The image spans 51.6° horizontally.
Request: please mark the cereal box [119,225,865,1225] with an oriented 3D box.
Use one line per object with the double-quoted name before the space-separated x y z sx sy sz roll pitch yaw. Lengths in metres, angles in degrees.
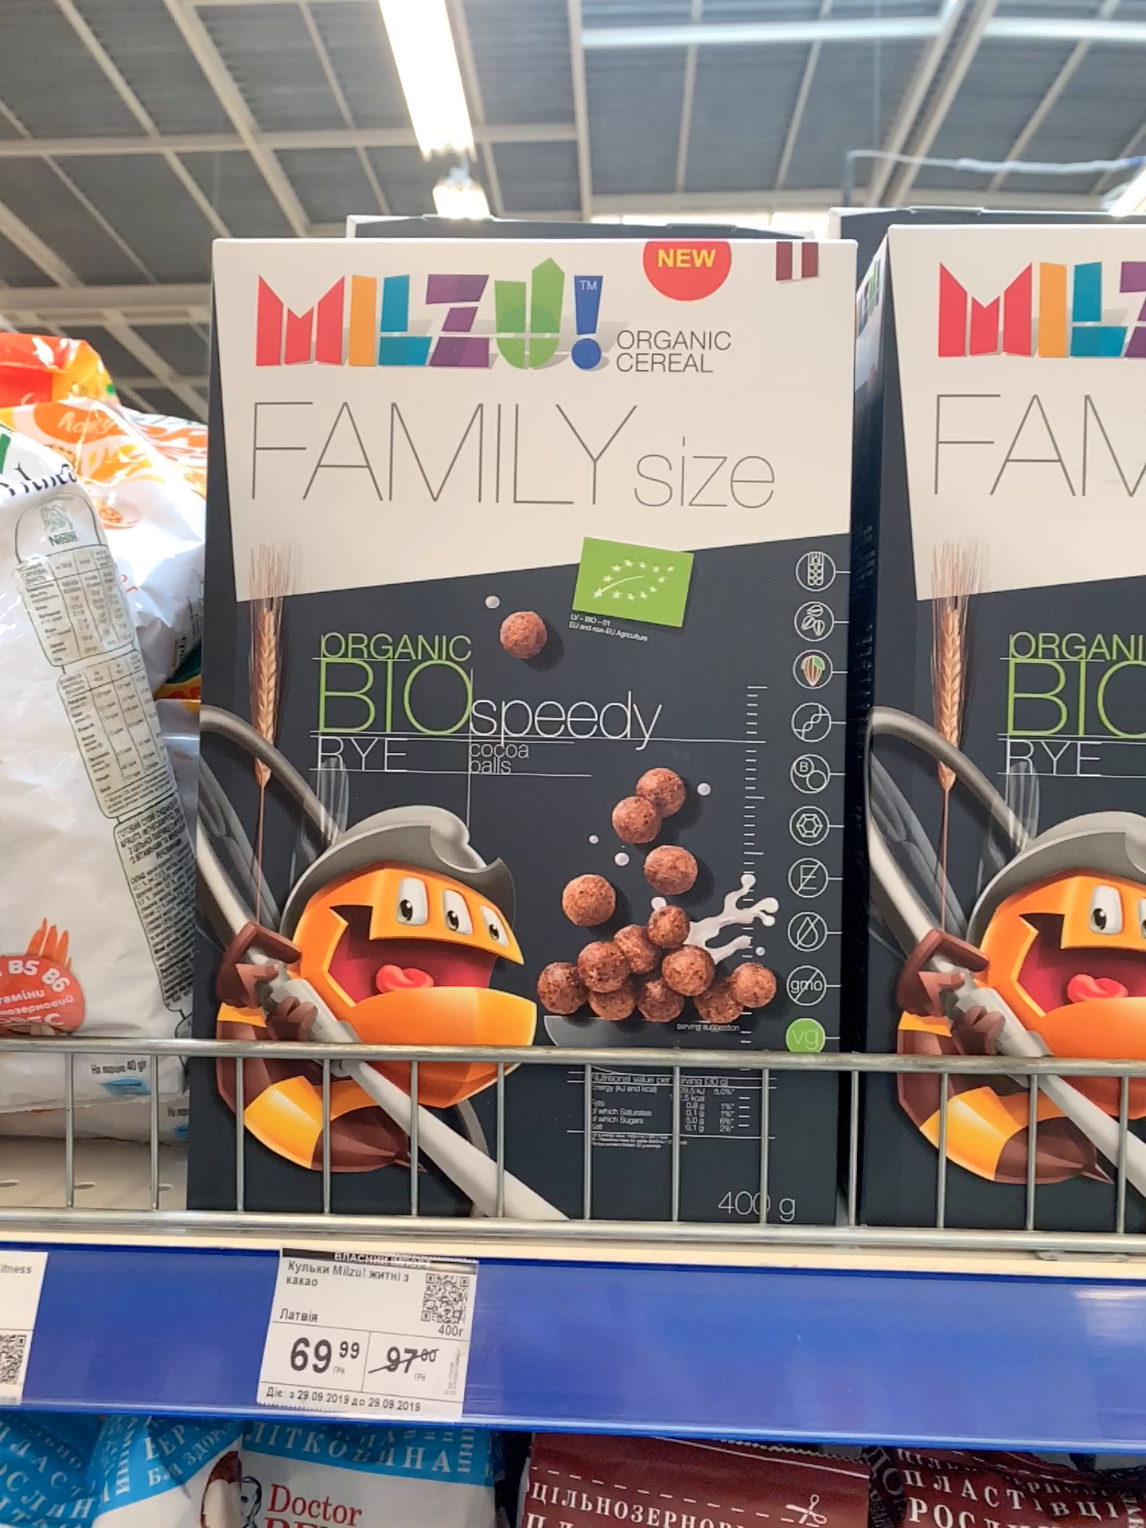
"cereal box" -0.023 -0.012 0.365 0.200 0.270 0.080 1 1 2
